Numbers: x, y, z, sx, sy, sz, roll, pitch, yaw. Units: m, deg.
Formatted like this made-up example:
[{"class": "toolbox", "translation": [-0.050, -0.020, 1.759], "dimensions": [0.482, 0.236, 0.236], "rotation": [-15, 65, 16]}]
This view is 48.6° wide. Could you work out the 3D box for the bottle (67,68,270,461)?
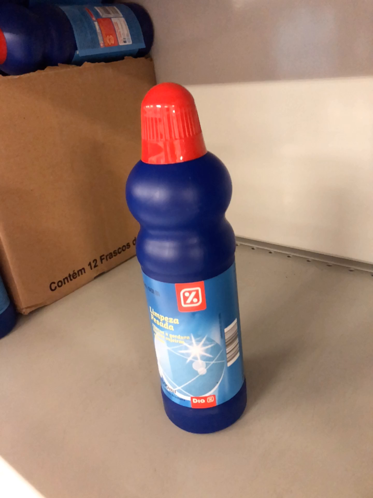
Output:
[{"class": "bottle", "translation": [0.003, 0.017, 0.273], "dimensions": [0.070, 0.238, 0.070], "rotation": [-7, 26, 4]}]
